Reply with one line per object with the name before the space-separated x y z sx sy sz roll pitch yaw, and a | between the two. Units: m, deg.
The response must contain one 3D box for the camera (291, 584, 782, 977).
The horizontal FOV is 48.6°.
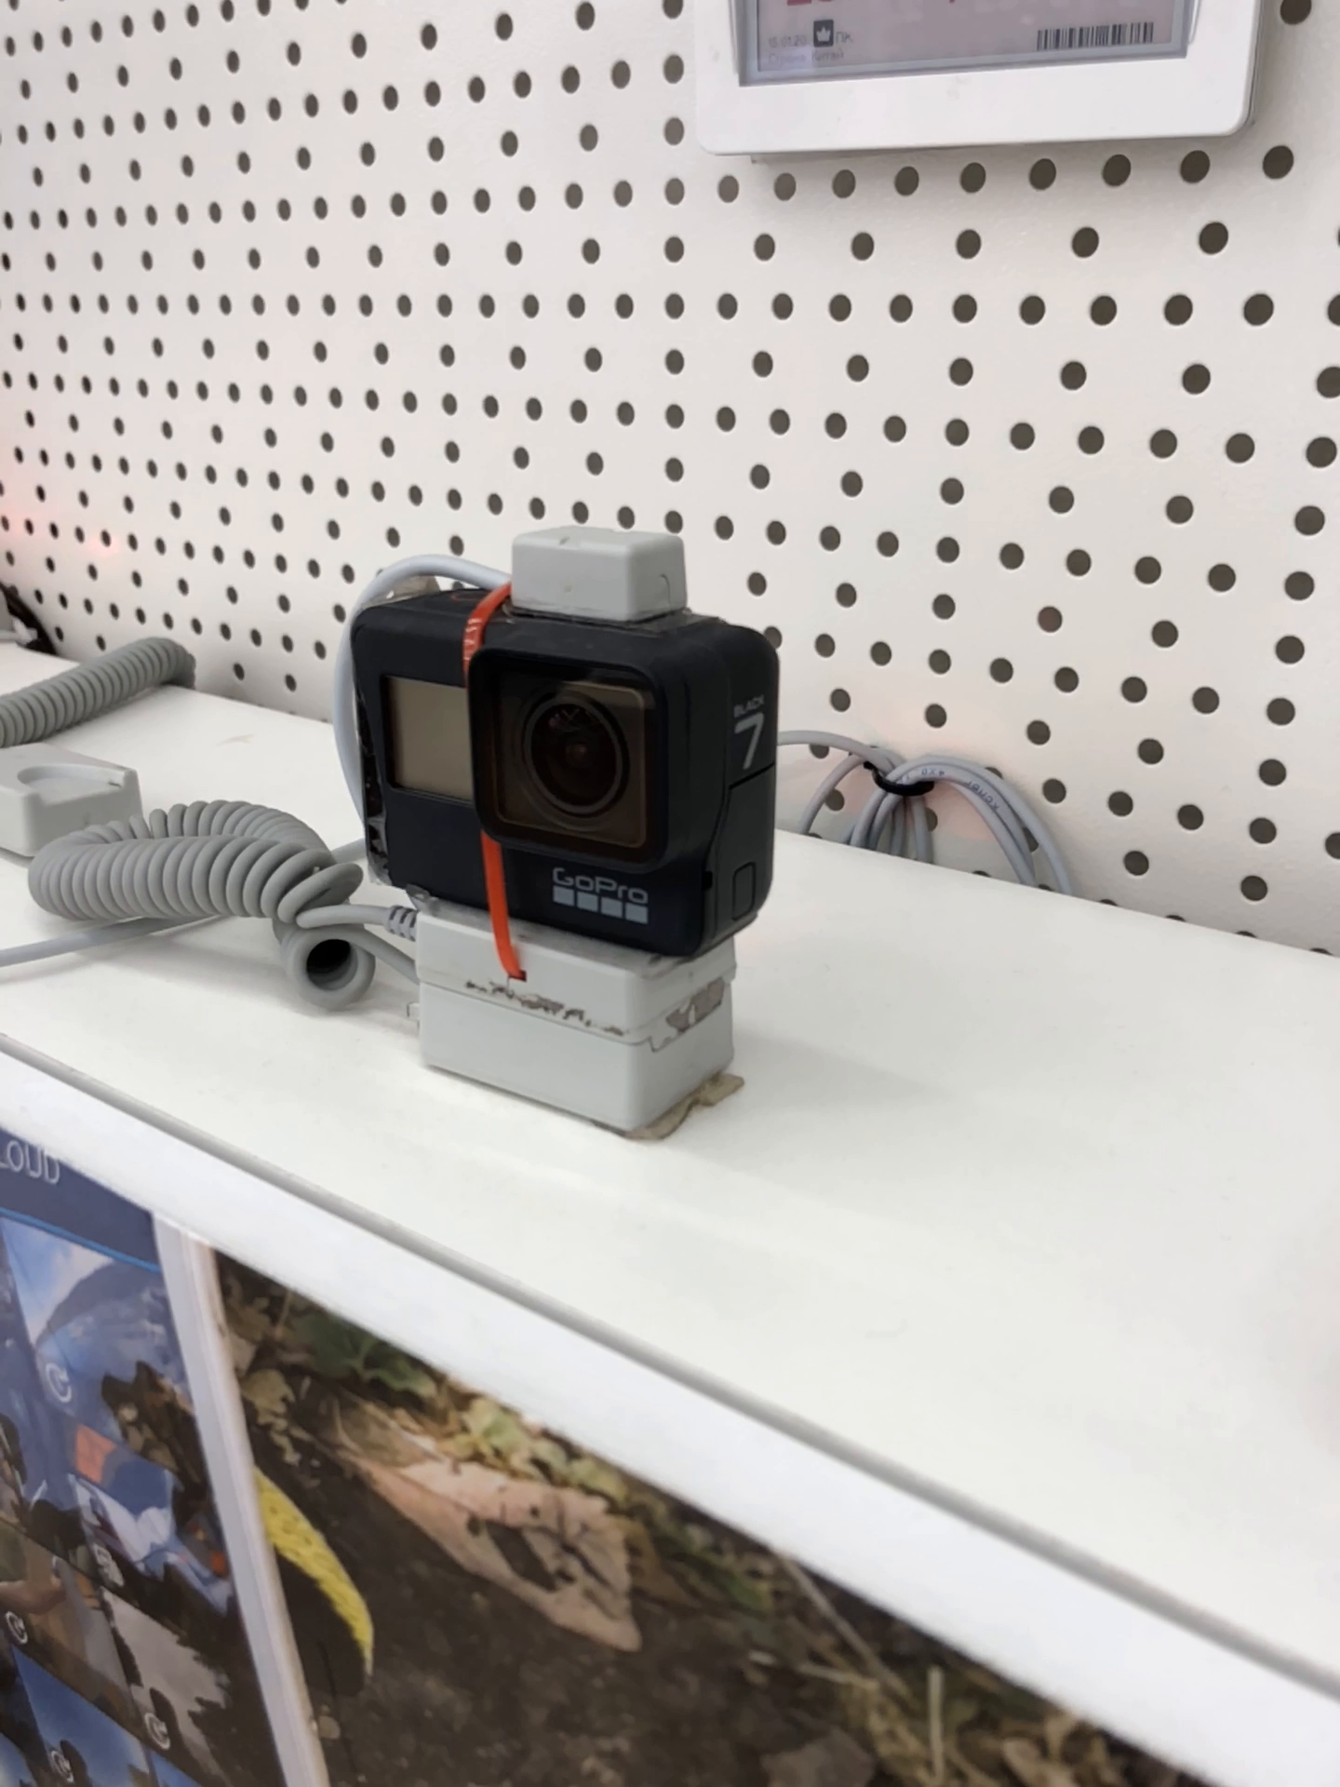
camera | -0.020 -0.020 0.222 0.064 0.043 0.032 12 24 29
